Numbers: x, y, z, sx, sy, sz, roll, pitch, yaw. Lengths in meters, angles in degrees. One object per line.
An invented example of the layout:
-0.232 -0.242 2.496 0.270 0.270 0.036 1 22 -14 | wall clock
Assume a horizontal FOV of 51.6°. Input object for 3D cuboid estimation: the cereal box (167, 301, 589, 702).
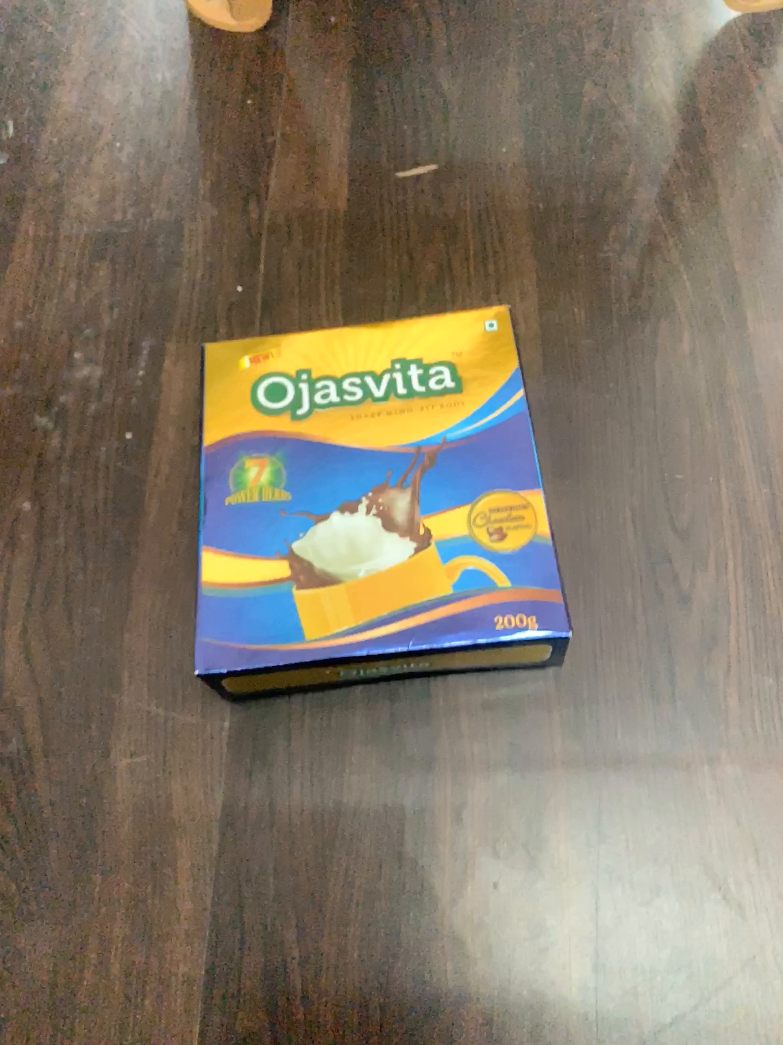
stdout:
-0.011 -0.013 0.338 0.150 0.040 0.150 -7 63 0 | cereal box
